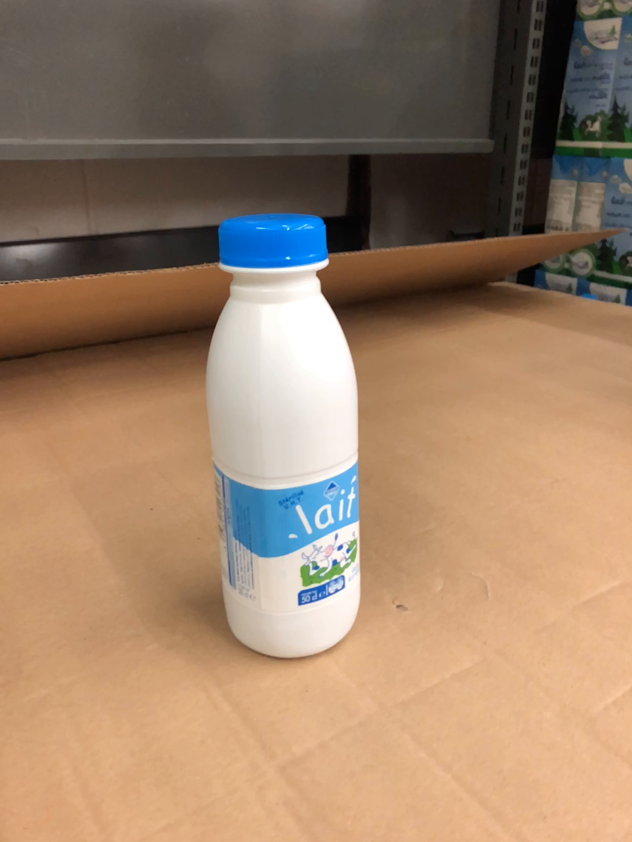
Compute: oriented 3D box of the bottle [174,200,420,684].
[{"bbox_3d":[-0.009,0.006,0.307,0.070,0.189,0.070,0,22,0],"label":"bottle"}]
